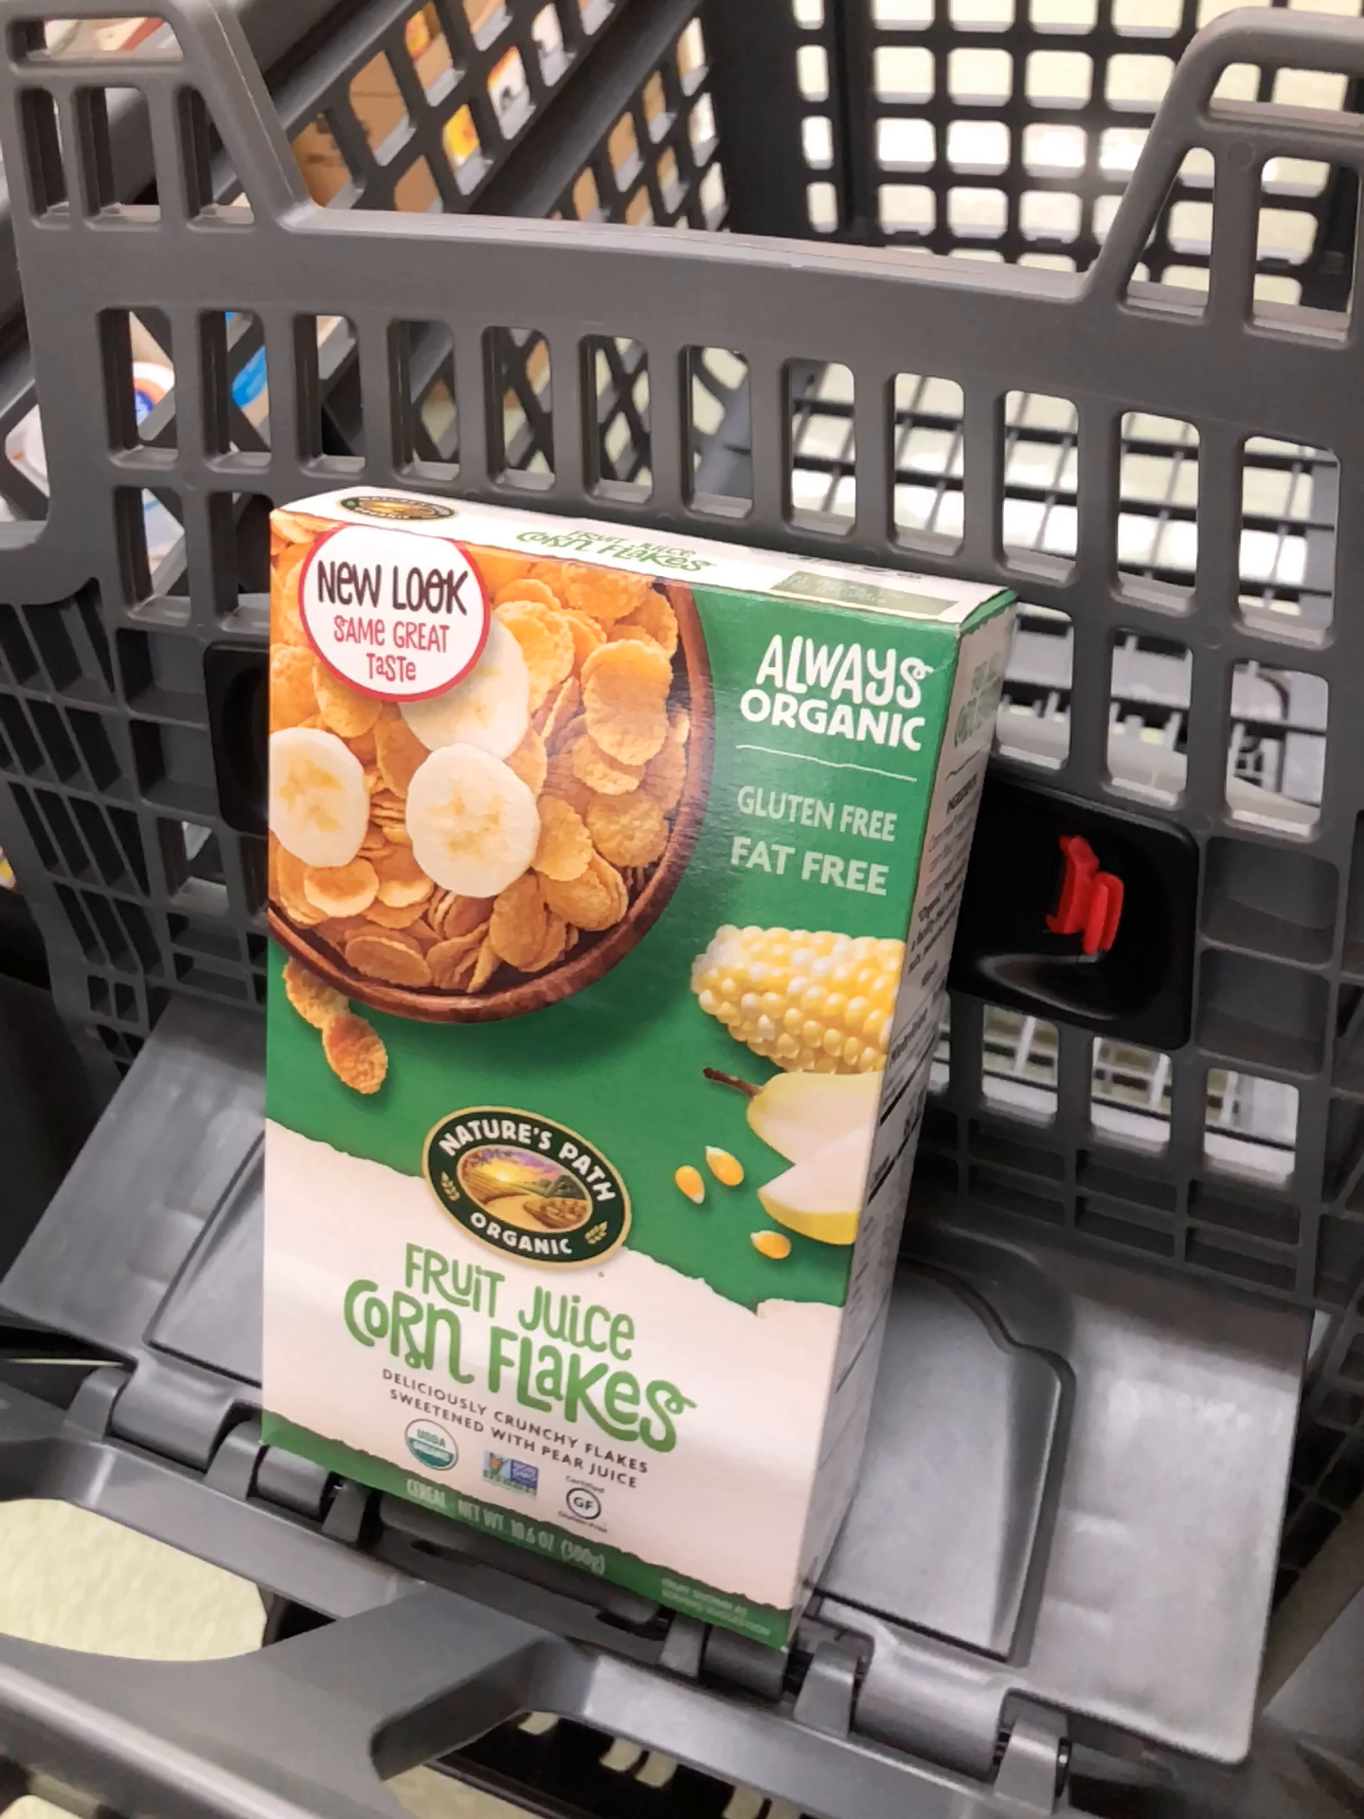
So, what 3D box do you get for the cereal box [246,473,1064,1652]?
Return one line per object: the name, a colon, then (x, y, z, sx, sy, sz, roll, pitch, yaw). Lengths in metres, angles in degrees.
cereal box: (-0.015, 0.029, 0.348, 0.150, 0.230, 0.070, 14, 21, 18)
